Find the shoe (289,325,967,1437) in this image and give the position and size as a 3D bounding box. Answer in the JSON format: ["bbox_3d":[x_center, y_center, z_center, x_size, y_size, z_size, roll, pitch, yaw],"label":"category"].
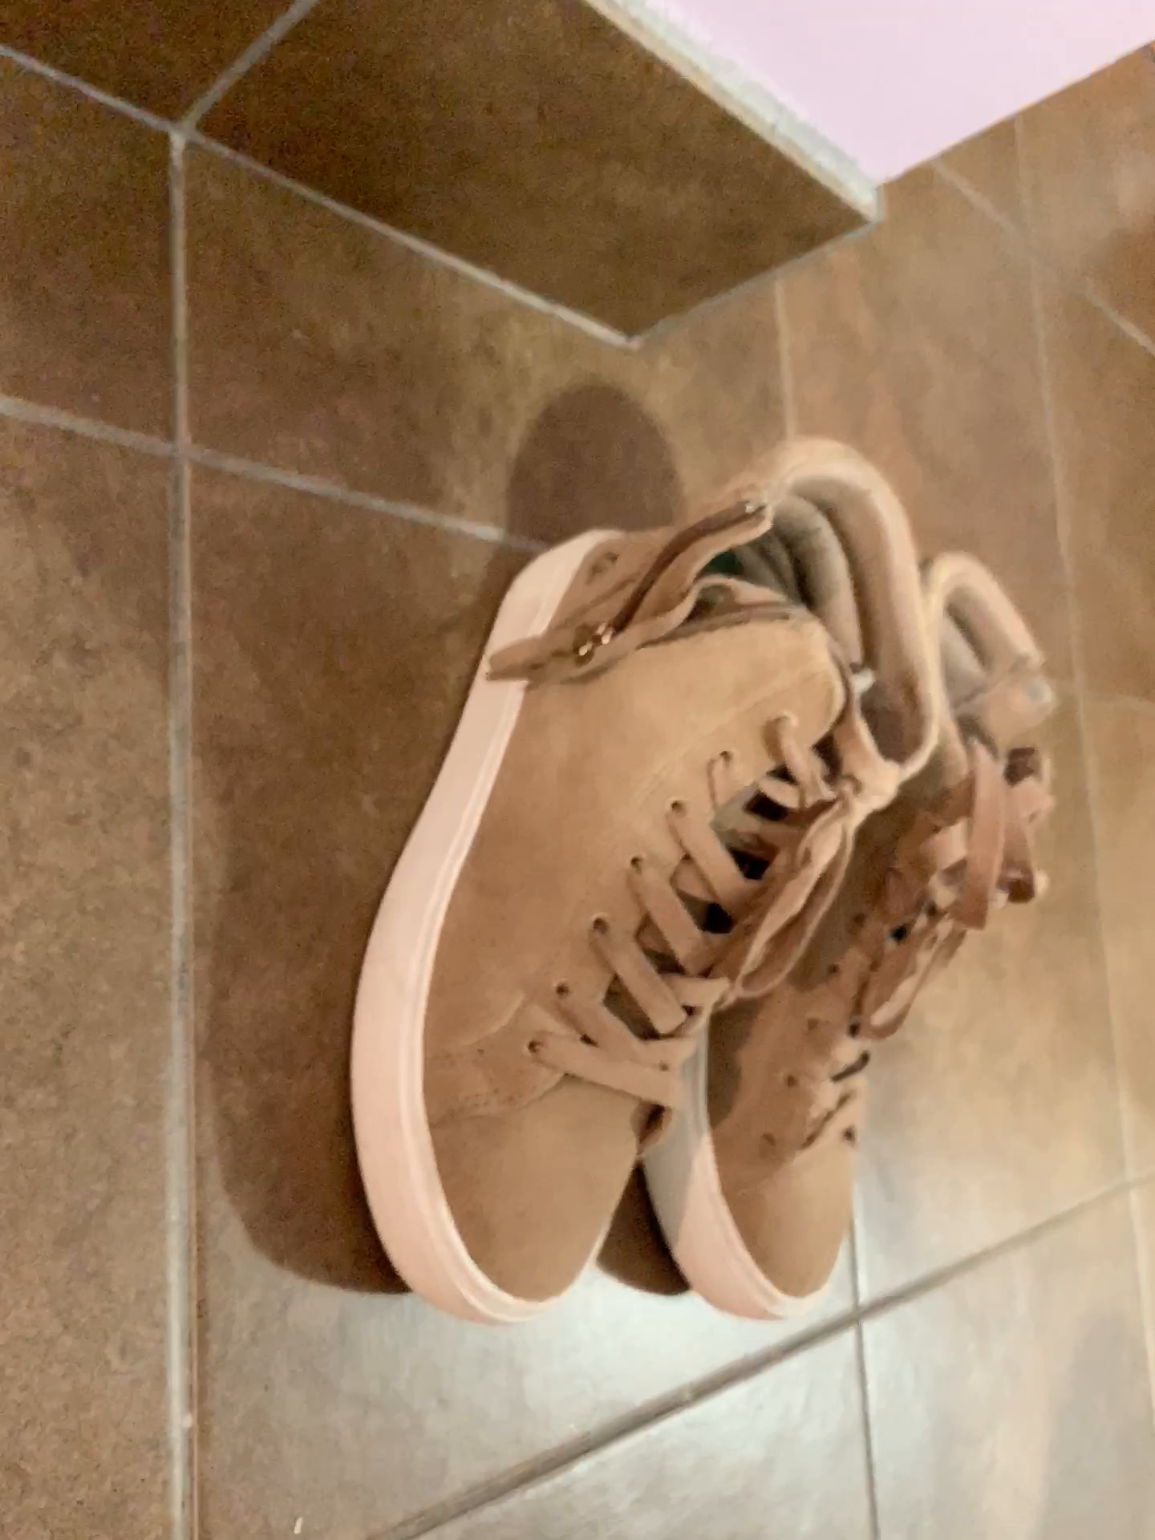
[{"bbox_3d":[0.024,0.030,0.340,0.106,0.117,0.254,26,64,-40],"label":"shoe"}]

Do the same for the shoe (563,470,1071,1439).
[{"bbox_3d":[0.080,0.058,0.420,0.114,0.119,0.270,13,74,-44],"label":"shoe"}]
